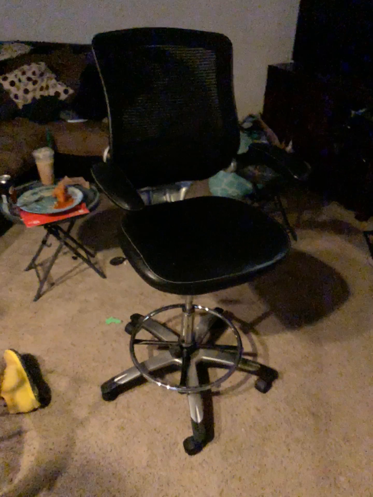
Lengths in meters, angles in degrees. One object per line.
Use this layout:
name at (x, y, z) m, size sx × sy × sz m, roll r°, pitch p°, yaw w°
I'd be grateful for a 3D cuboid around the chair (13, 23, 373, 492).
chair at (-0.025, -0.058, 1.437) m, size 0.760 × 1.170 × 0.930 m, roll -13°, pitch 37°, yaw -21°
